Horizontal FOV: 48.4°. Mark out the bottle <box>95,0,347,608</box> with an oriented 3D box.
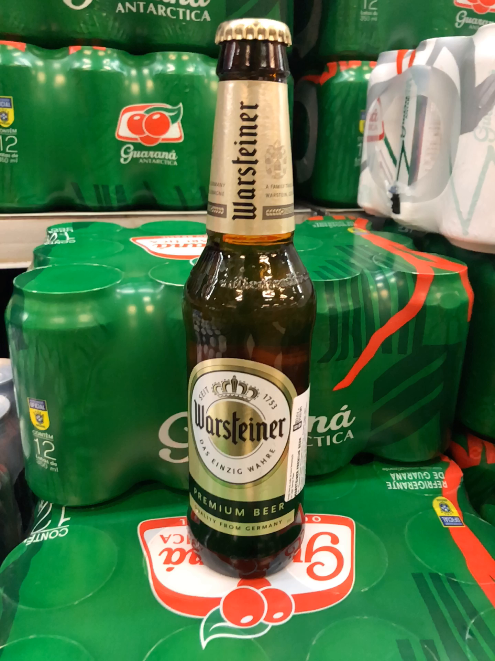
[{"bbox_3d":[-0.007,-0.005,0.230,0.070,0.229,0.060,8,21,17],"label":"bottle"}]
